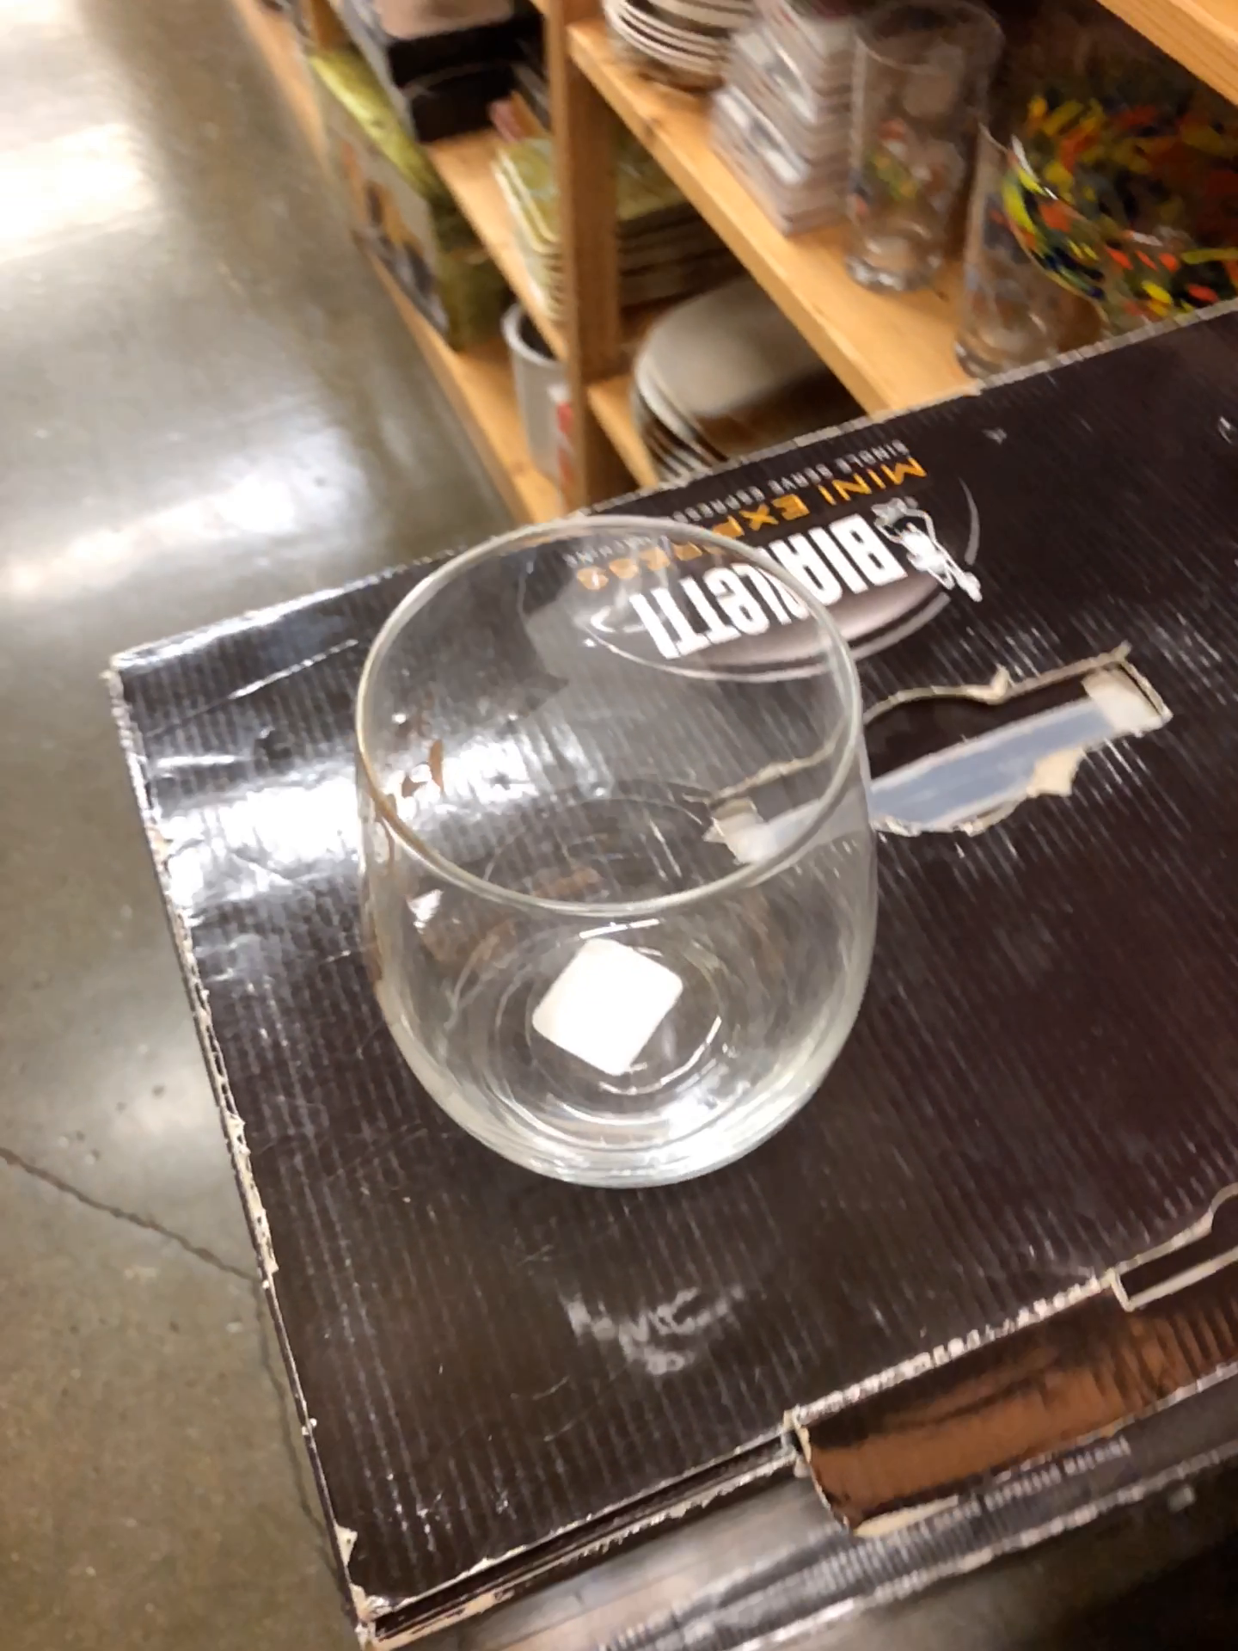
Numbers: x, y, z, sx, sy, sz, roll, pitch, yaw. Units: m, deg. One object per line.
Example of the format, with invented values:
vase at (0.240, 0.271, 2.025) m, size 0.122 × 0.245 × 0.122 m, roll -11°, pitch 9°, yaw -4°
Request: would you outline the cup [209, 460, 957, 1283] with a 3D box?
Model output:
cup at (-0.001, 0.014, 0.240) m, size 0.090 × 0.114 × 0.096 m, roll -1°, pitch 56°, yaw 2°
